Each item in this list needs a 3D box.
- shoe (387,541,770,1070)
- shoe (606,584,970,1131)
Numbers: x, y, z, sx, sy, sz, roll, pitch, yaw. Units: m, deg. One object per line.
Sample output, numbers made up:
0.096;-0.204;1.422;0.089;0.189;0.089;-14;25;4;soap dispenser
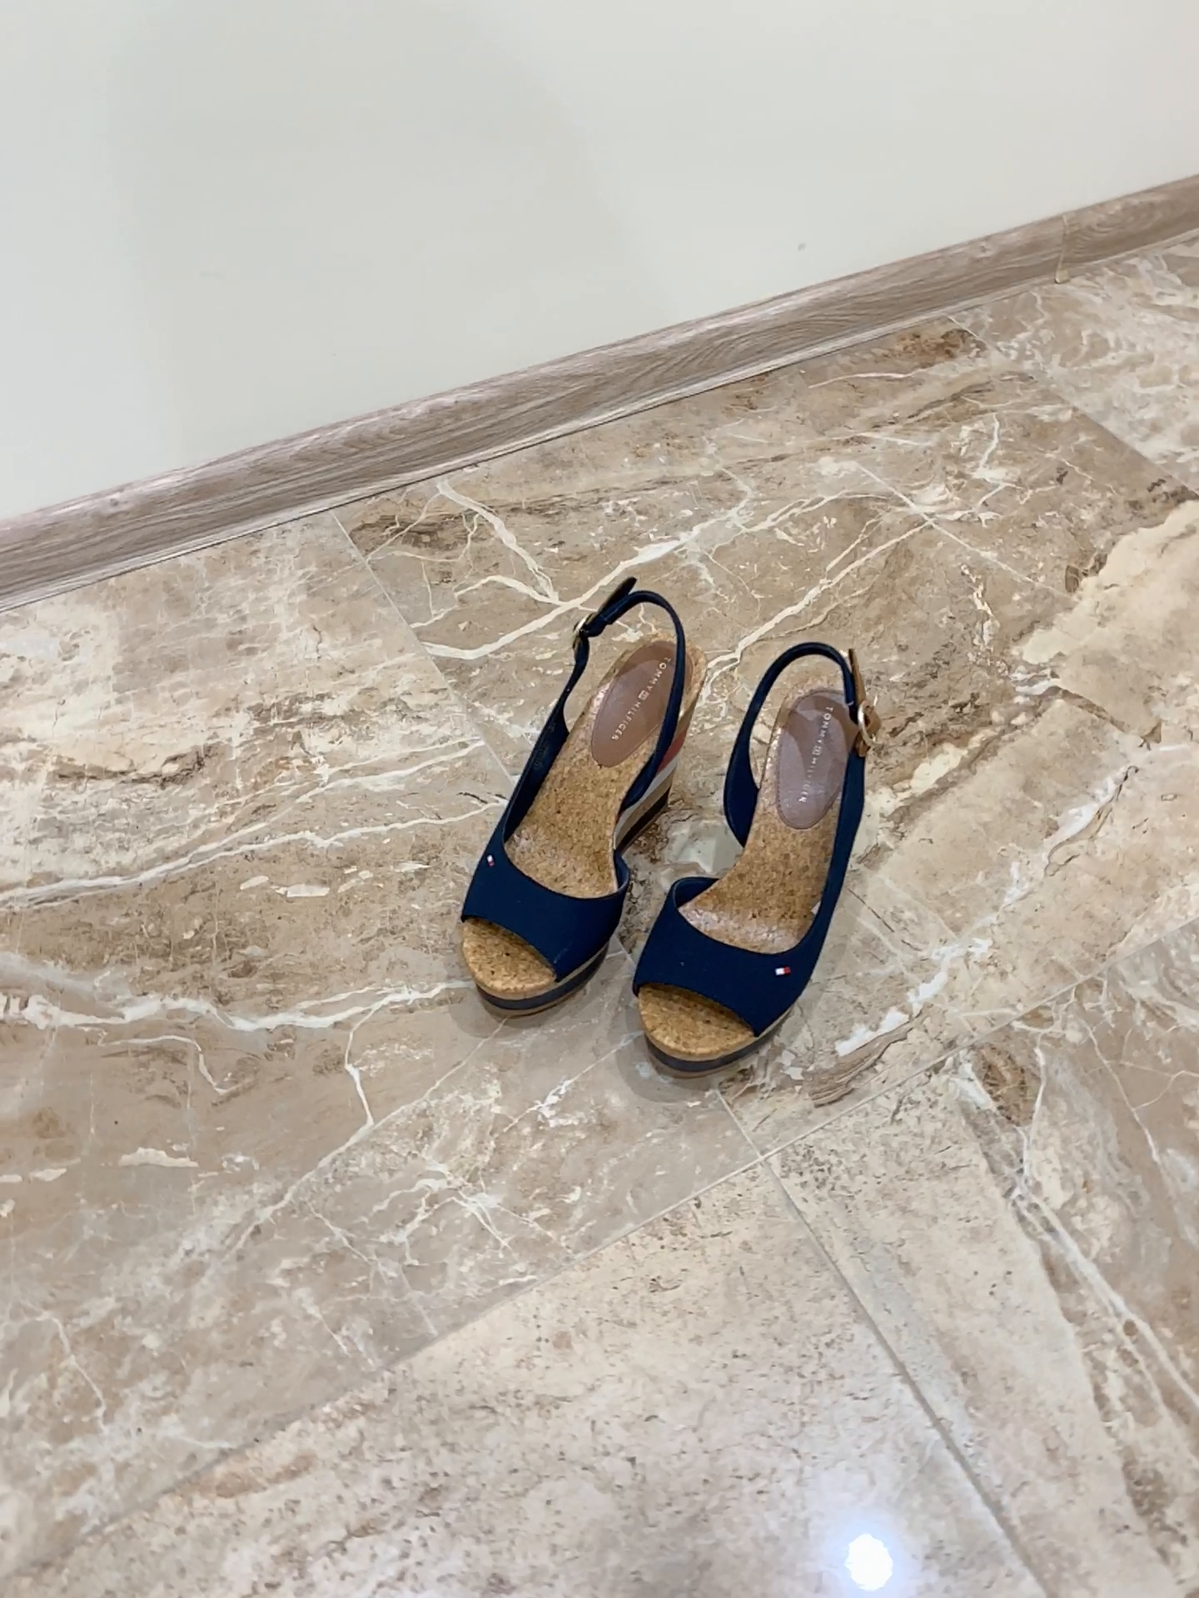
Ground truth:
-0.004;0.000;0.622;0.090;0.145;0.211;22;53;16;shoe
0.092;0.025;0.606;0.090;0.145;0.211;22;53;16;shoe
